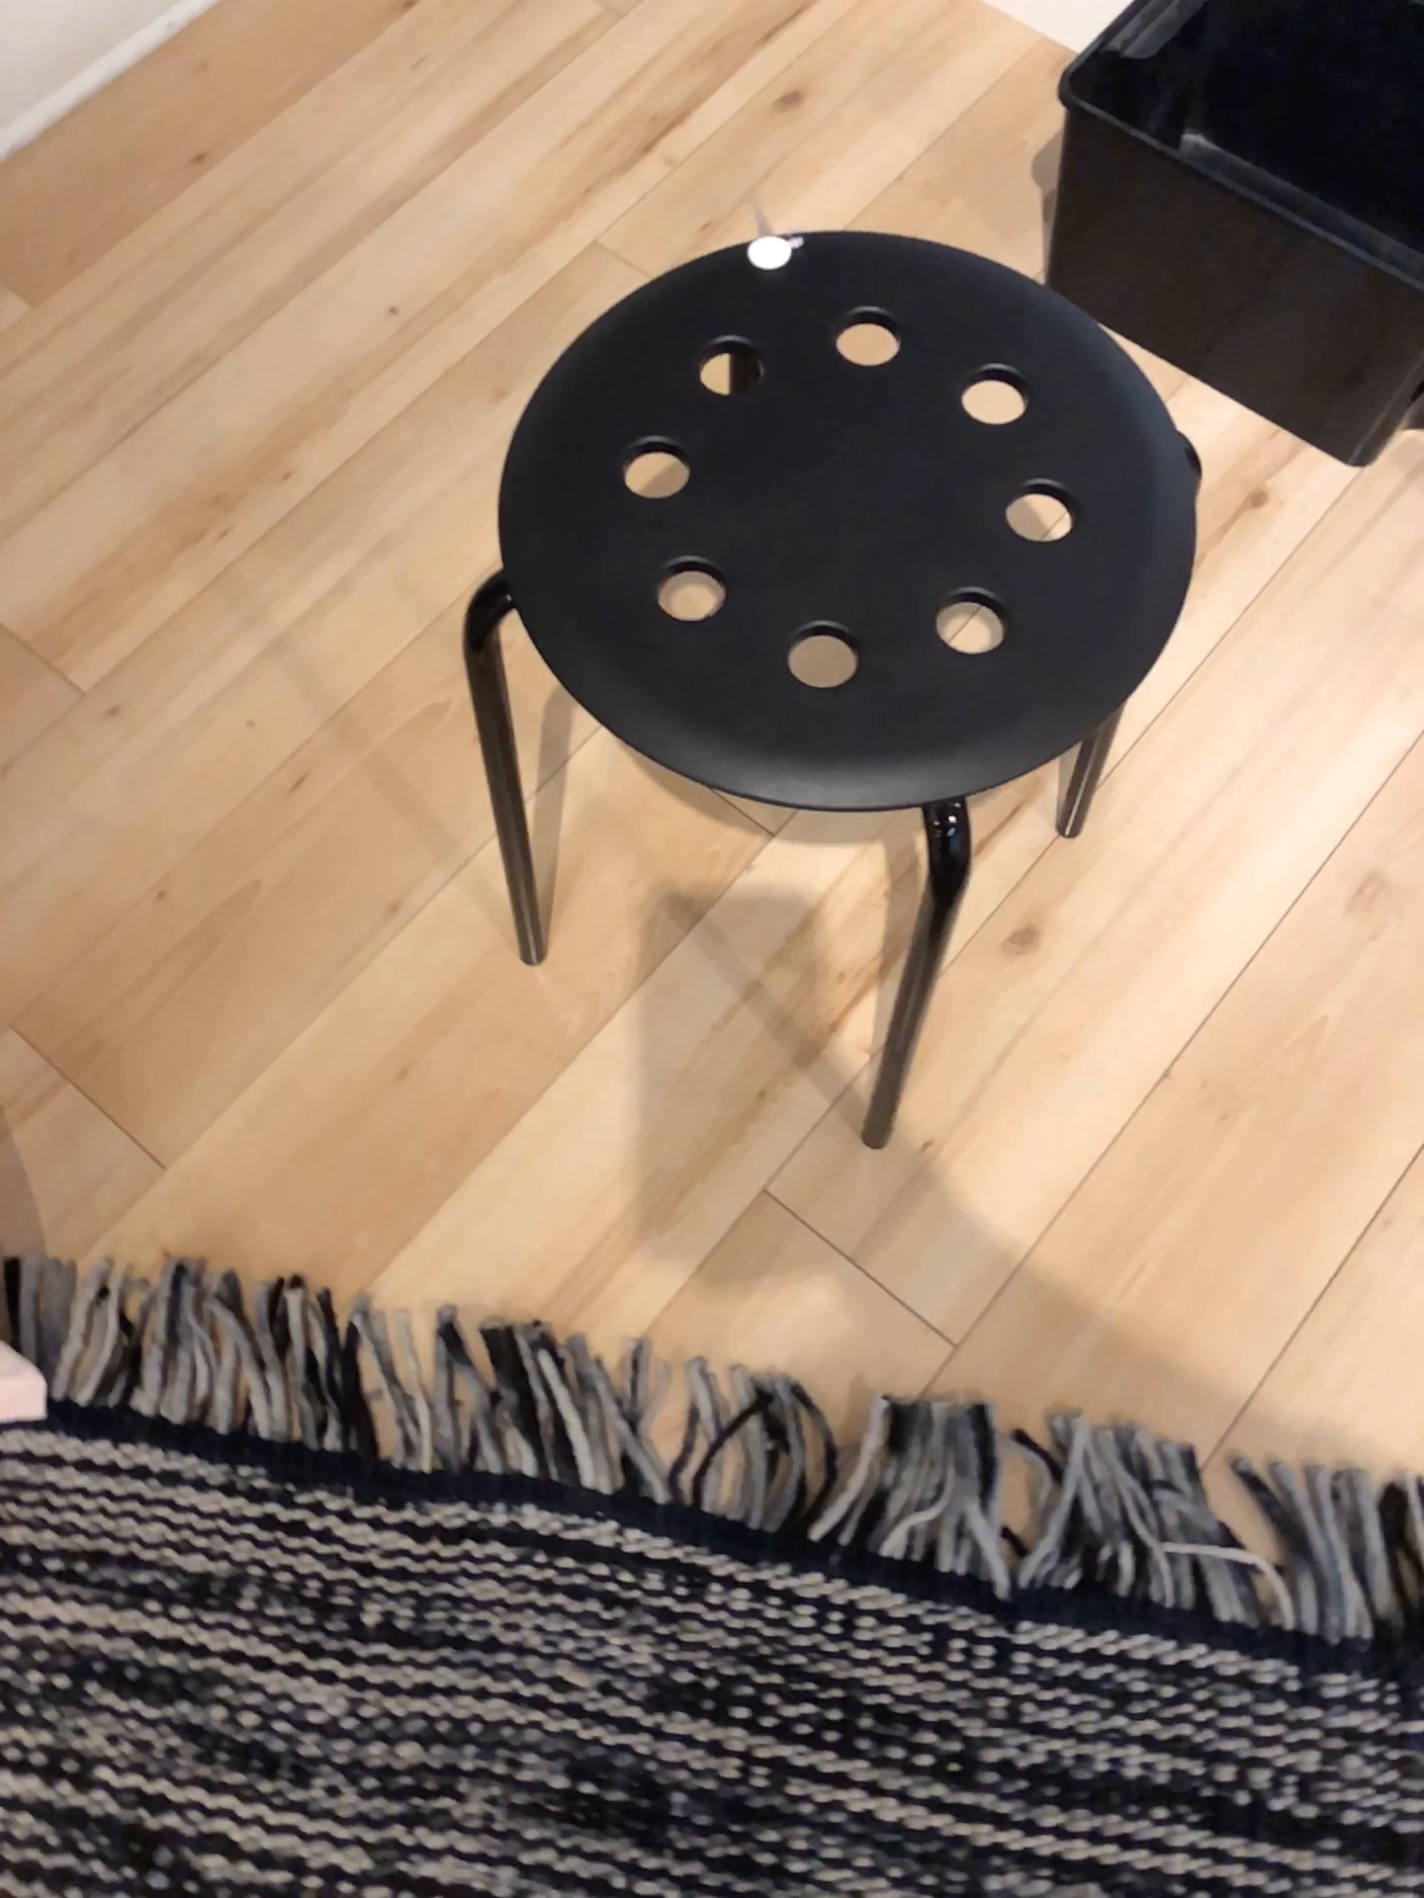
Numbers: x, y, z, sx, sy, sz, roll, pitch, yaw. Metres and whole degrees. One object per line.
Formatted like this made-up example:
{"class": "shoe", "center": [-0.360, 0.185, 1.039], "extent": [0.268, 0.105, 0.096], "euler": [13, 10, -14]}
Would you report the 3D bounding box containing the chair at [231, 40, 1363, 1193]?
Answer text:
{"class": "chair", "center": [0.048, -0.159, 0.901], "extent": [0.380, 0.400, 0.370], "euler": [30, 72, 12]}
